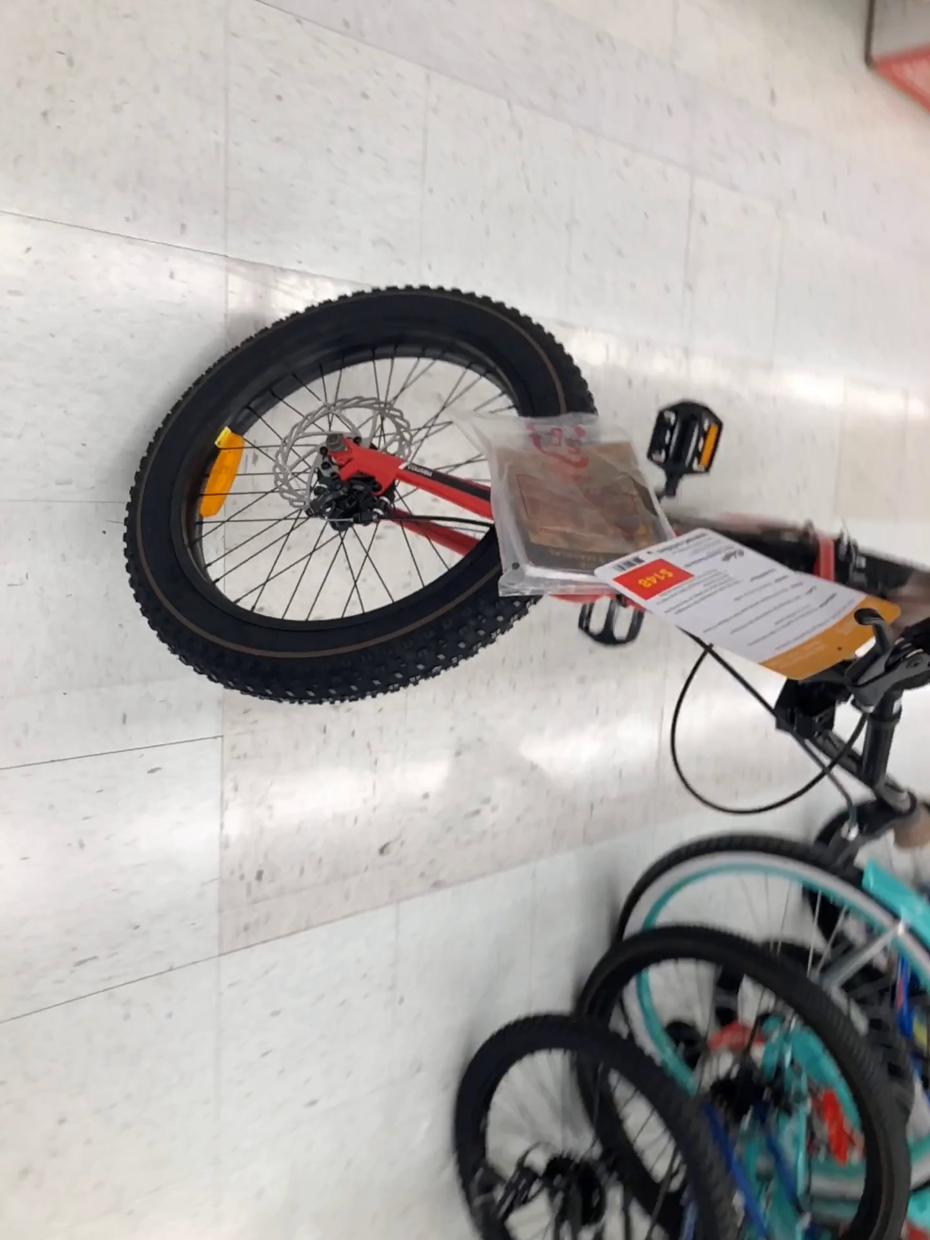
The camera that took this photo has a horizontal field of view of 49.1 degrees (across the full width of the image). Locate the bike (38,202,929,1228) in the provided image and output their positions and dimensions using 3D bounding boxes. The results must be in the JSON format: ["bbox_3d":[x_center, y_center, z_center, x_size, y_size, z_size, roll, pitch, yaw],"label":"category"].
[{"bbox_3d":[0.342,-0.019,1.350,1.363,0.968,0.607,-5,101,-38],"label":"bike"}]
